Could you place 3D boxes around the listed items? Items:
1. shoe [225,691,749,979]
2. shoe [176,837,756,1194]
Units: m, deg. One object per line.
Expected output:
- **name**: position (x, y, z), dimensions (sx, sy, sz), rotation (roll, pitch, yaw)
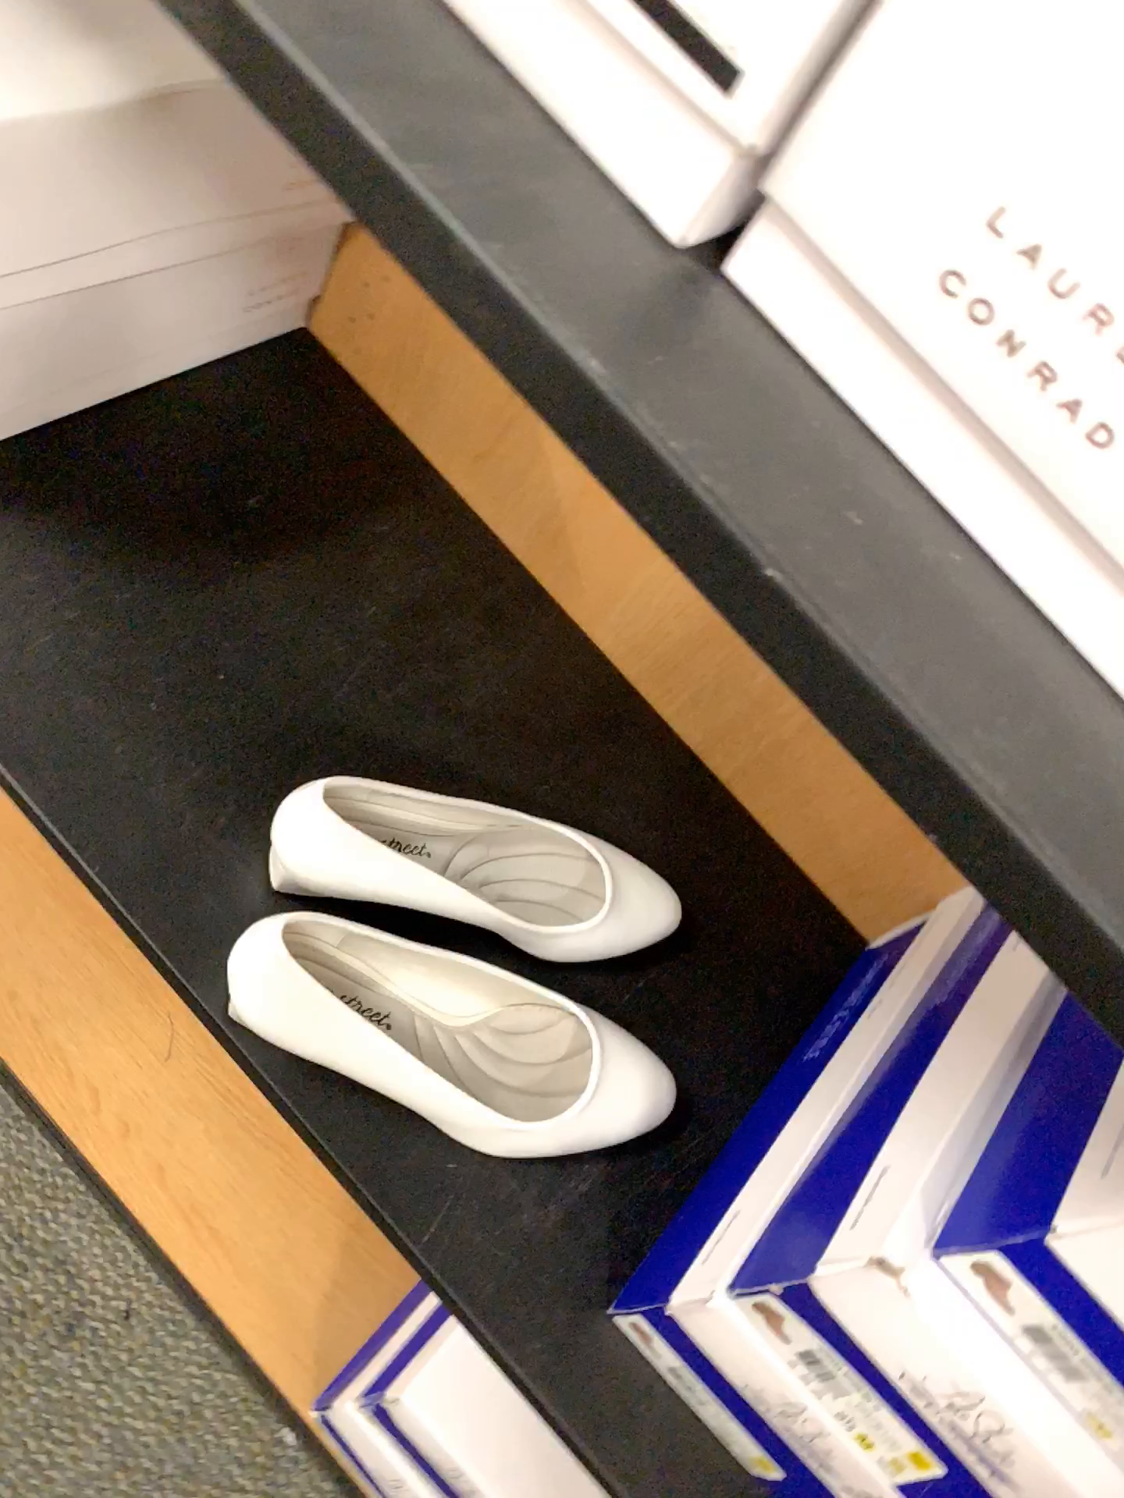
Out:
- **shoe**: position (-0.037, 0.054, 0.613), dimensions (0.250, 0.100, 0.080), rotation (12, 59, -21)
- **shoe**: position (-0.043, 0.140, 0.566), dimensions (0.250, 0.110, 0.090), rotation (19, 57, -17)
